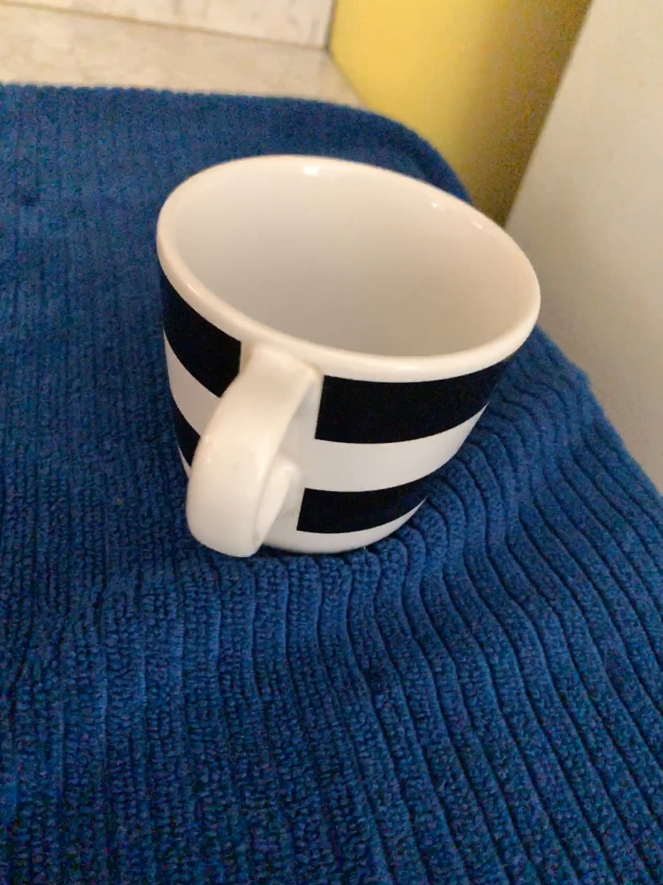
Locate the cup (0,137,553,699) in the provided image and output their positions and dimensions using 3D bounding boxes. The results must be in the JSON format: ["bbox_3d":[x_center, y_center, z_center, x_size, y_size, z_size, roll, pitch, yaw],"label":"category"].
[{"bbox_3d":[-0.002,-0.017,0.167,0.084,0.057,0.114,18,41,7],"label":"cup"}]
